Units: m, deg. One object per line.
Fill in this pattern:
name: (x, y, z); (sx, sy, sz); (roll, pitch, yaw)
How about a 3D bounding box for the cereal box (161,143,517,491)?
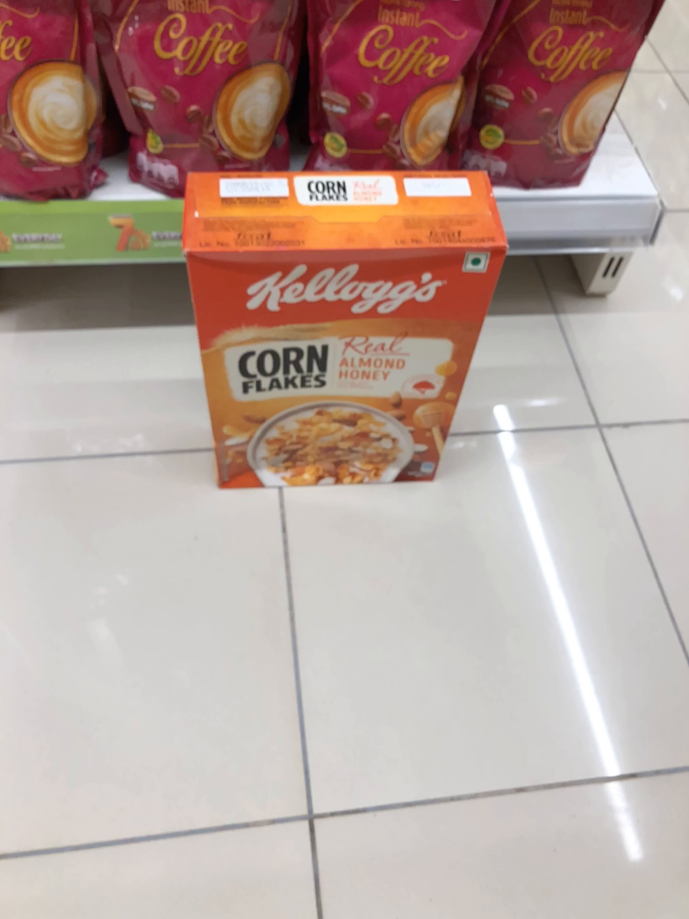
cereal box: (-0.011, -0.084, 0.563); (0.200, 0.269, 0.080); (0, 55, -4)
